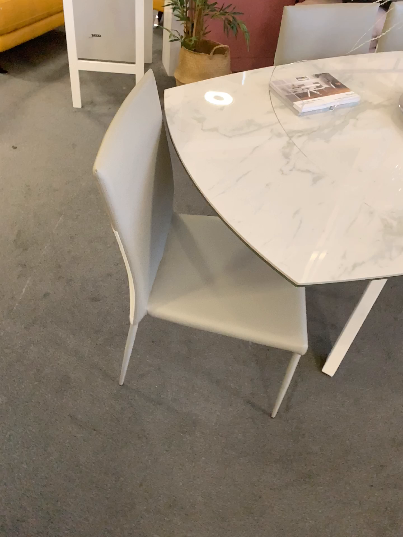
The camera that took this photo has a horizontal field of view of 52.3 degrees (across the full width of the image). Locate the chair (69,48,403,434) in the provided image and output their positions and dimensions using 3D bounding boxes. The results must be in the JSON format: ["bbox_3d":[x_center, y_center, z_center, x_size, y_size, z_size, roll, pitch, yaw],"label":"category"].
[{"bbox_3d":[0.075,-0.007,1.107,0.581,0.824,0.536,9,50,0],"label":"chair"}]
